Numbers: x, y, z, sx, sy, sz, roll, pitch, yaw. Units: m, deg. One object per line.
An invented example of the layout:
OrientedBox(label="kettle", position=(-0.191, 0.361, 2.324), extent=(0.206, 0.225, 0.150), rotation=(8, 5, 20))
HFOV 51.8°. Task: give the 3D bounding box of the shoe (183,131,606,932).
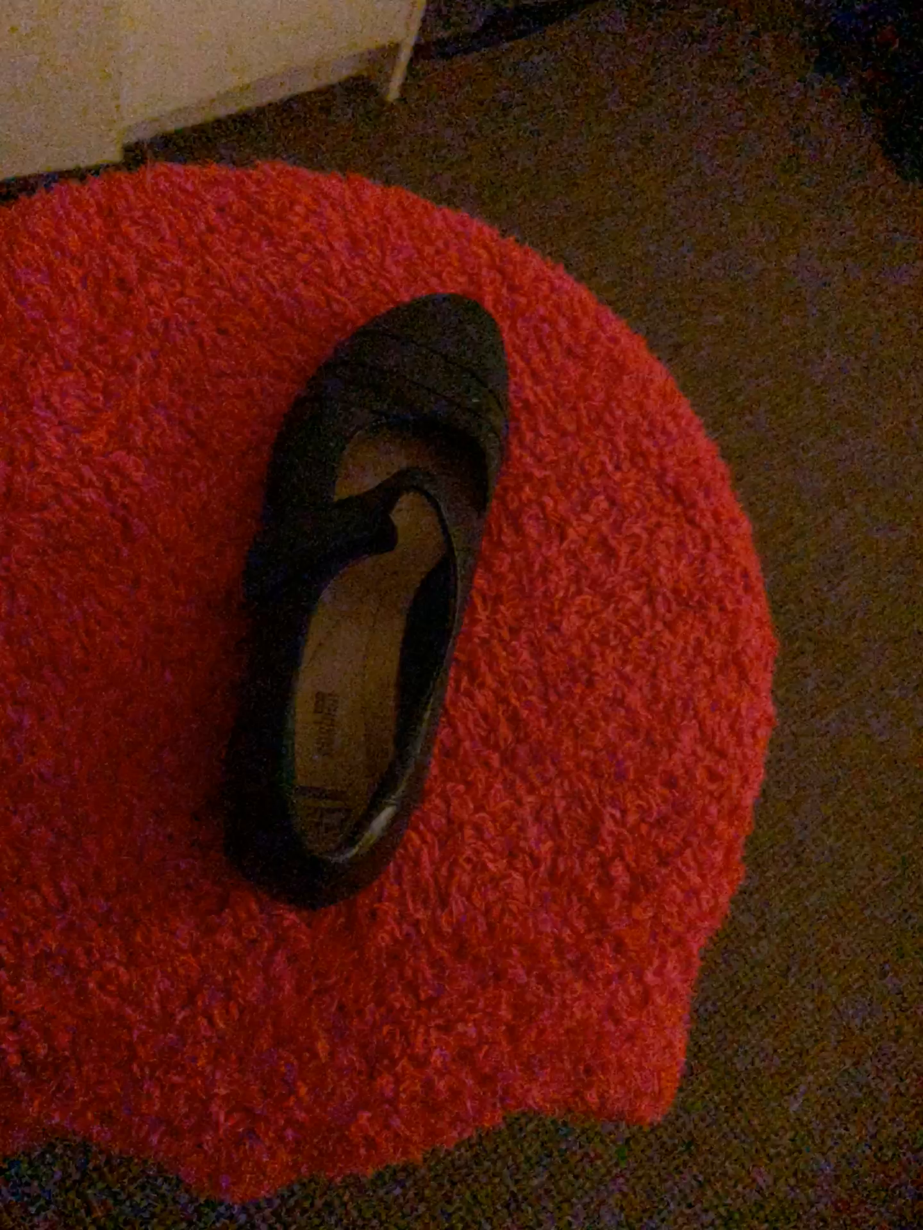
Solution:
OrientedBox(label="shoe", position=(-0.020, -0.033, 0.357), extent=(0.092, 0.080, 0.276), rotation=(15, 69, -13))
